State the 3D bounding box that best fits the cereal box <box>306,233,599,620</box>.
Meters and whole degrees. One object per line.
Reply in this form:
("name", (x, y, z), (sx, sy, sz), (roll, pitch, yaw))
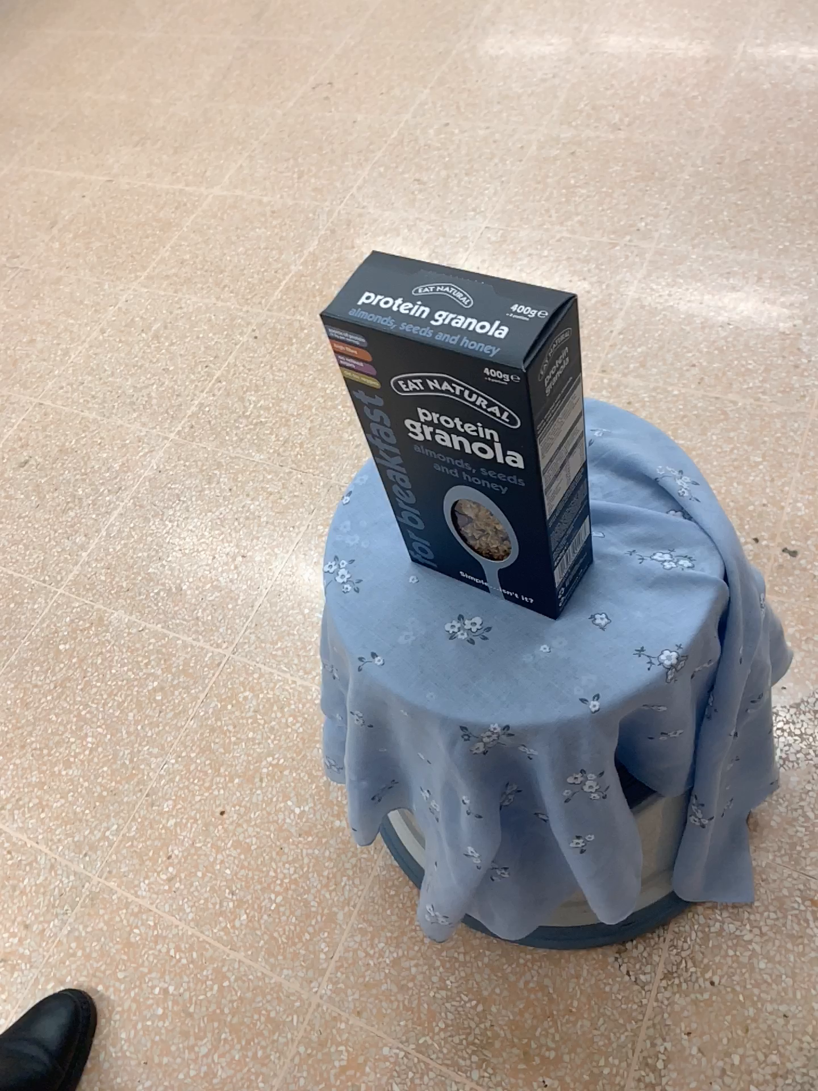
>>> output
("cereal box", (0.042, -0.061, 0.521), (0.130, 0.238, 0.070), (21, 65, 25))
